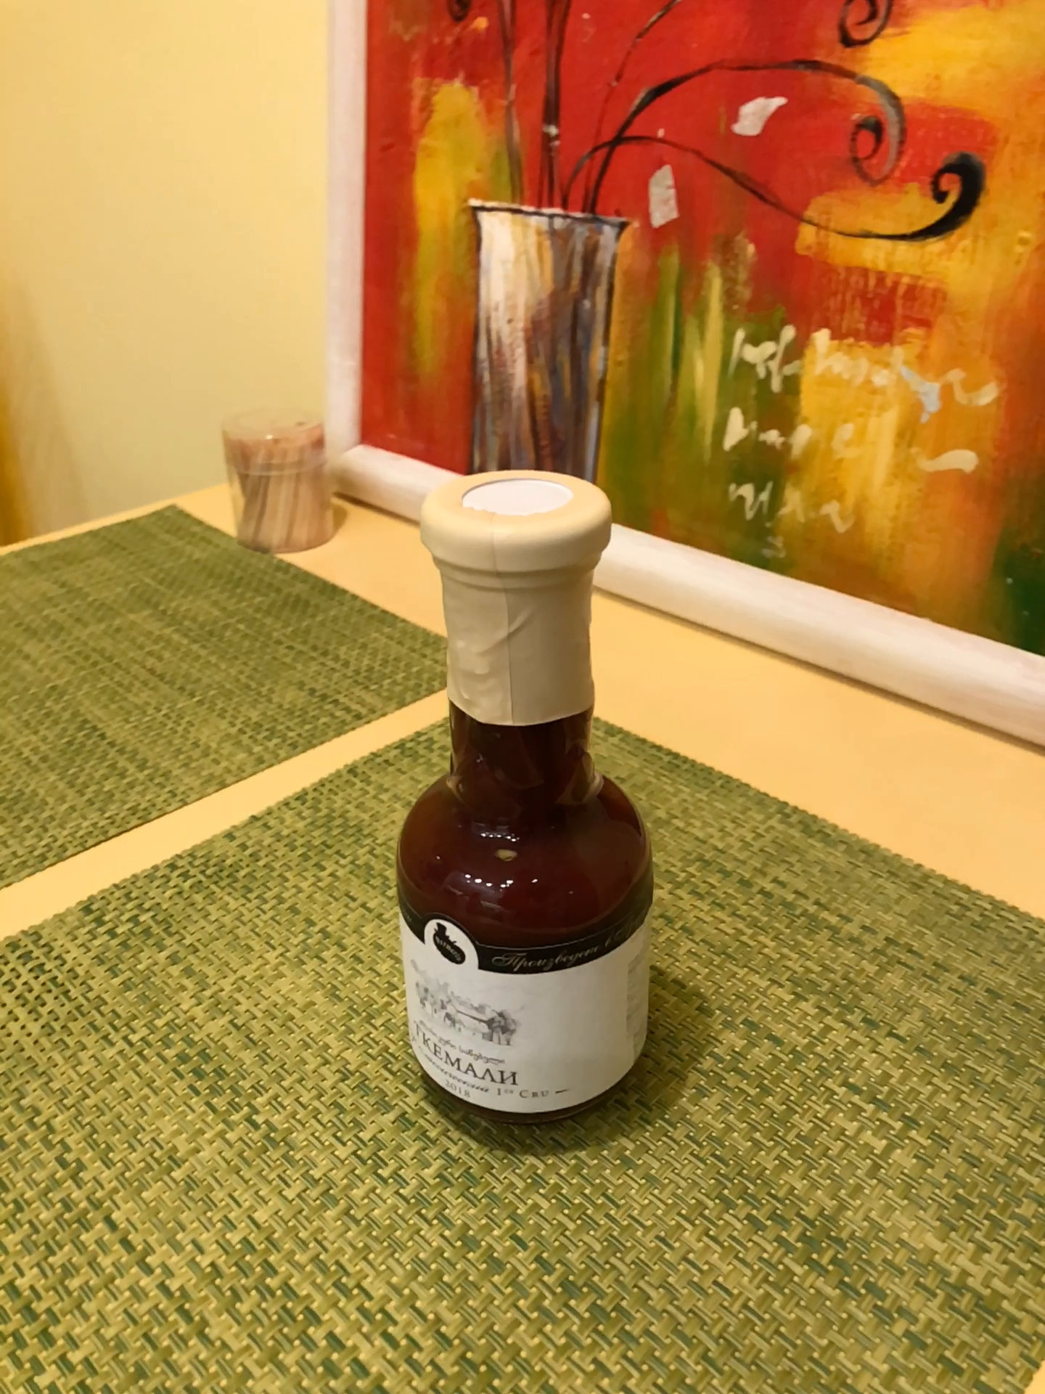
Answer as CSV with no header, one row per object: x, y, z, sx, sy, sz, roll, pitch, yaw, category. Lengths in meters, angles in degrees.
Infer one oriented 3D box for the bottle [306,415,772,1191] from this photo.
0.005,0.024,0.280,0.070,0.159,0.070,0,29,0,bottle
